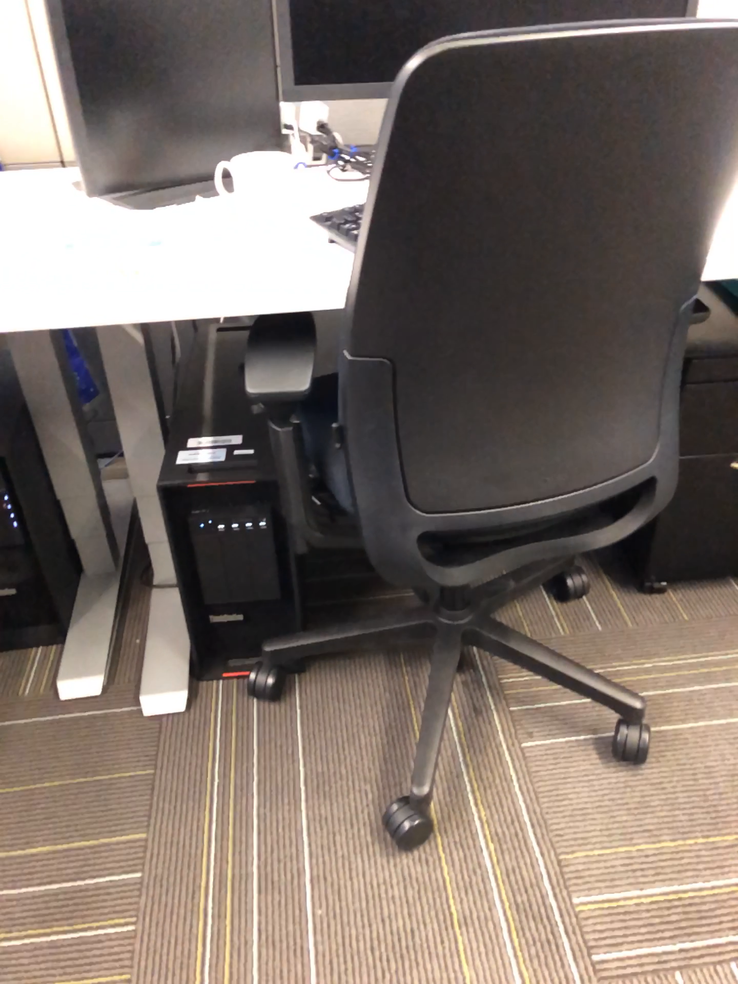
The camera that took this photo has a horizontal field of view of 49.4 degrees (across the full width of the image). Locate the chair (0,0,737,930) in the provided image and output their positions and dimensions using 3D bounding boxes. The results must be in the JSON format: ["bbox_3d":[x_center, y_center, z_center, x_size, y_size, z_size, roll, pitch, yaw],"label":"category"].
[{"bbox_3d":[0.123,-0.072,1.065,0.780,1.014,0.664,-6,34,-5],"label":"chair"}]
